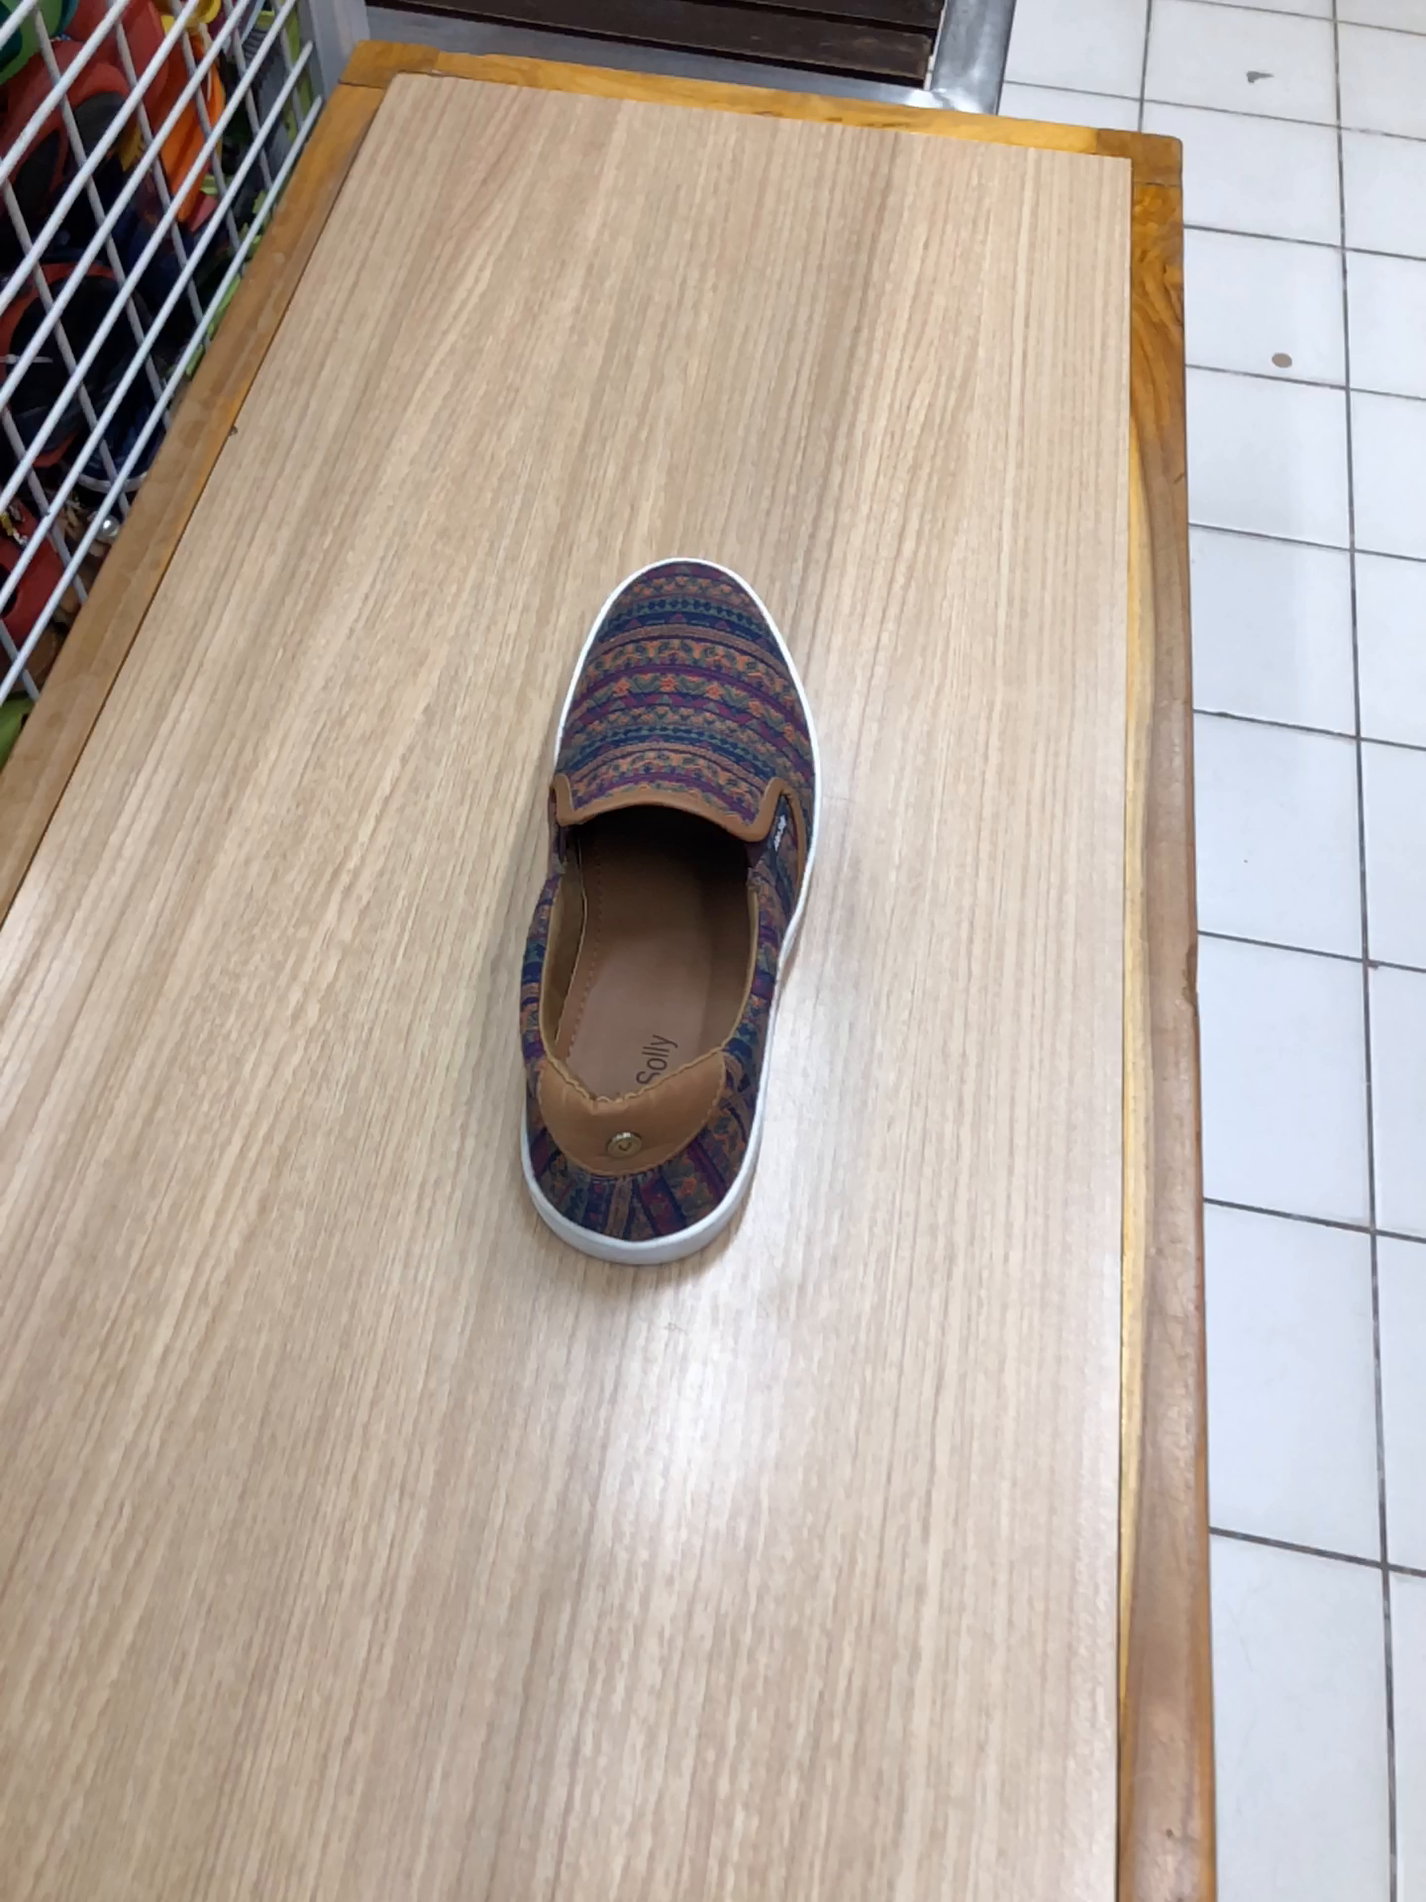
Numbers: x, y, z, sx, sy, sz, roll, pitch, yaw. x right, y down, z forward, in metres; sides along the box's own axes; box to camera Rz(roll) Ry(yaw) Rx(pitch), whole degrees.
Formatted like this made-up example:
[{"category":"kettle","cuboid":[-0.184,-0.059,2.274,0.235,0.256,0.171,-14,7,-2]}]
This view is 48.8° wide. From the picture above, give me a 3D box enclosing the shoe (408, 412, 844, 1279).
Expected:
[{"category":"shoe","cuboid":[-0.018,-0.043,0.510,0.100,0.090,0.271,5,59,1]}]
